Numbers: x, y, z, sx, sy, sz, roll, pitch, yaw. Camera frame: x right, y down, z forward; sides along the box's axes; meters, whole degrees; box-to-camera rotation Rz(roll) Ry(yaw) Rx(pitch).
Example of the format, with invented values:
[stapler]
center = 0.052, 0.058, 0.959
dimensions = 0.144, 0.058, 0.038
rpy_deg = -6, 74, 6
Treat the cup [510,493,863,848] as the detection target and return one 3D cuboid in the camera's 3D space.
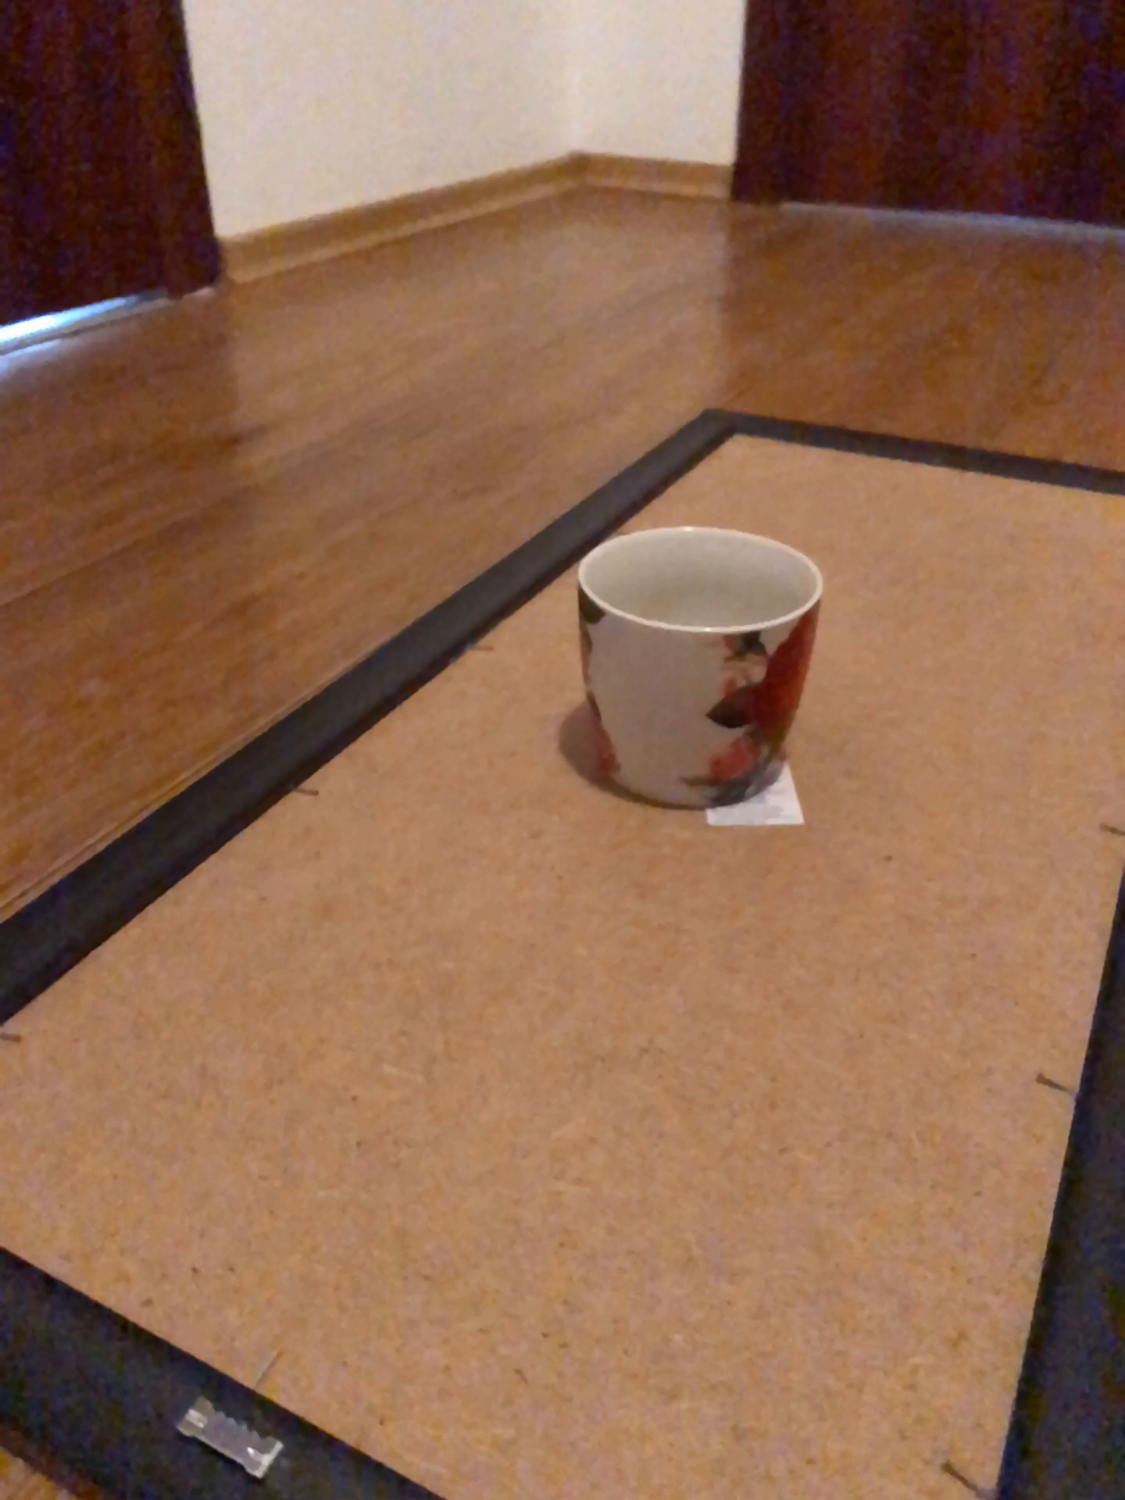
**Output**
[cup]
center = 0.052, -0.038, 0.499
dimensions = 0.098, 0.079, 0.122
rpy_deg = 15, 35, 22
